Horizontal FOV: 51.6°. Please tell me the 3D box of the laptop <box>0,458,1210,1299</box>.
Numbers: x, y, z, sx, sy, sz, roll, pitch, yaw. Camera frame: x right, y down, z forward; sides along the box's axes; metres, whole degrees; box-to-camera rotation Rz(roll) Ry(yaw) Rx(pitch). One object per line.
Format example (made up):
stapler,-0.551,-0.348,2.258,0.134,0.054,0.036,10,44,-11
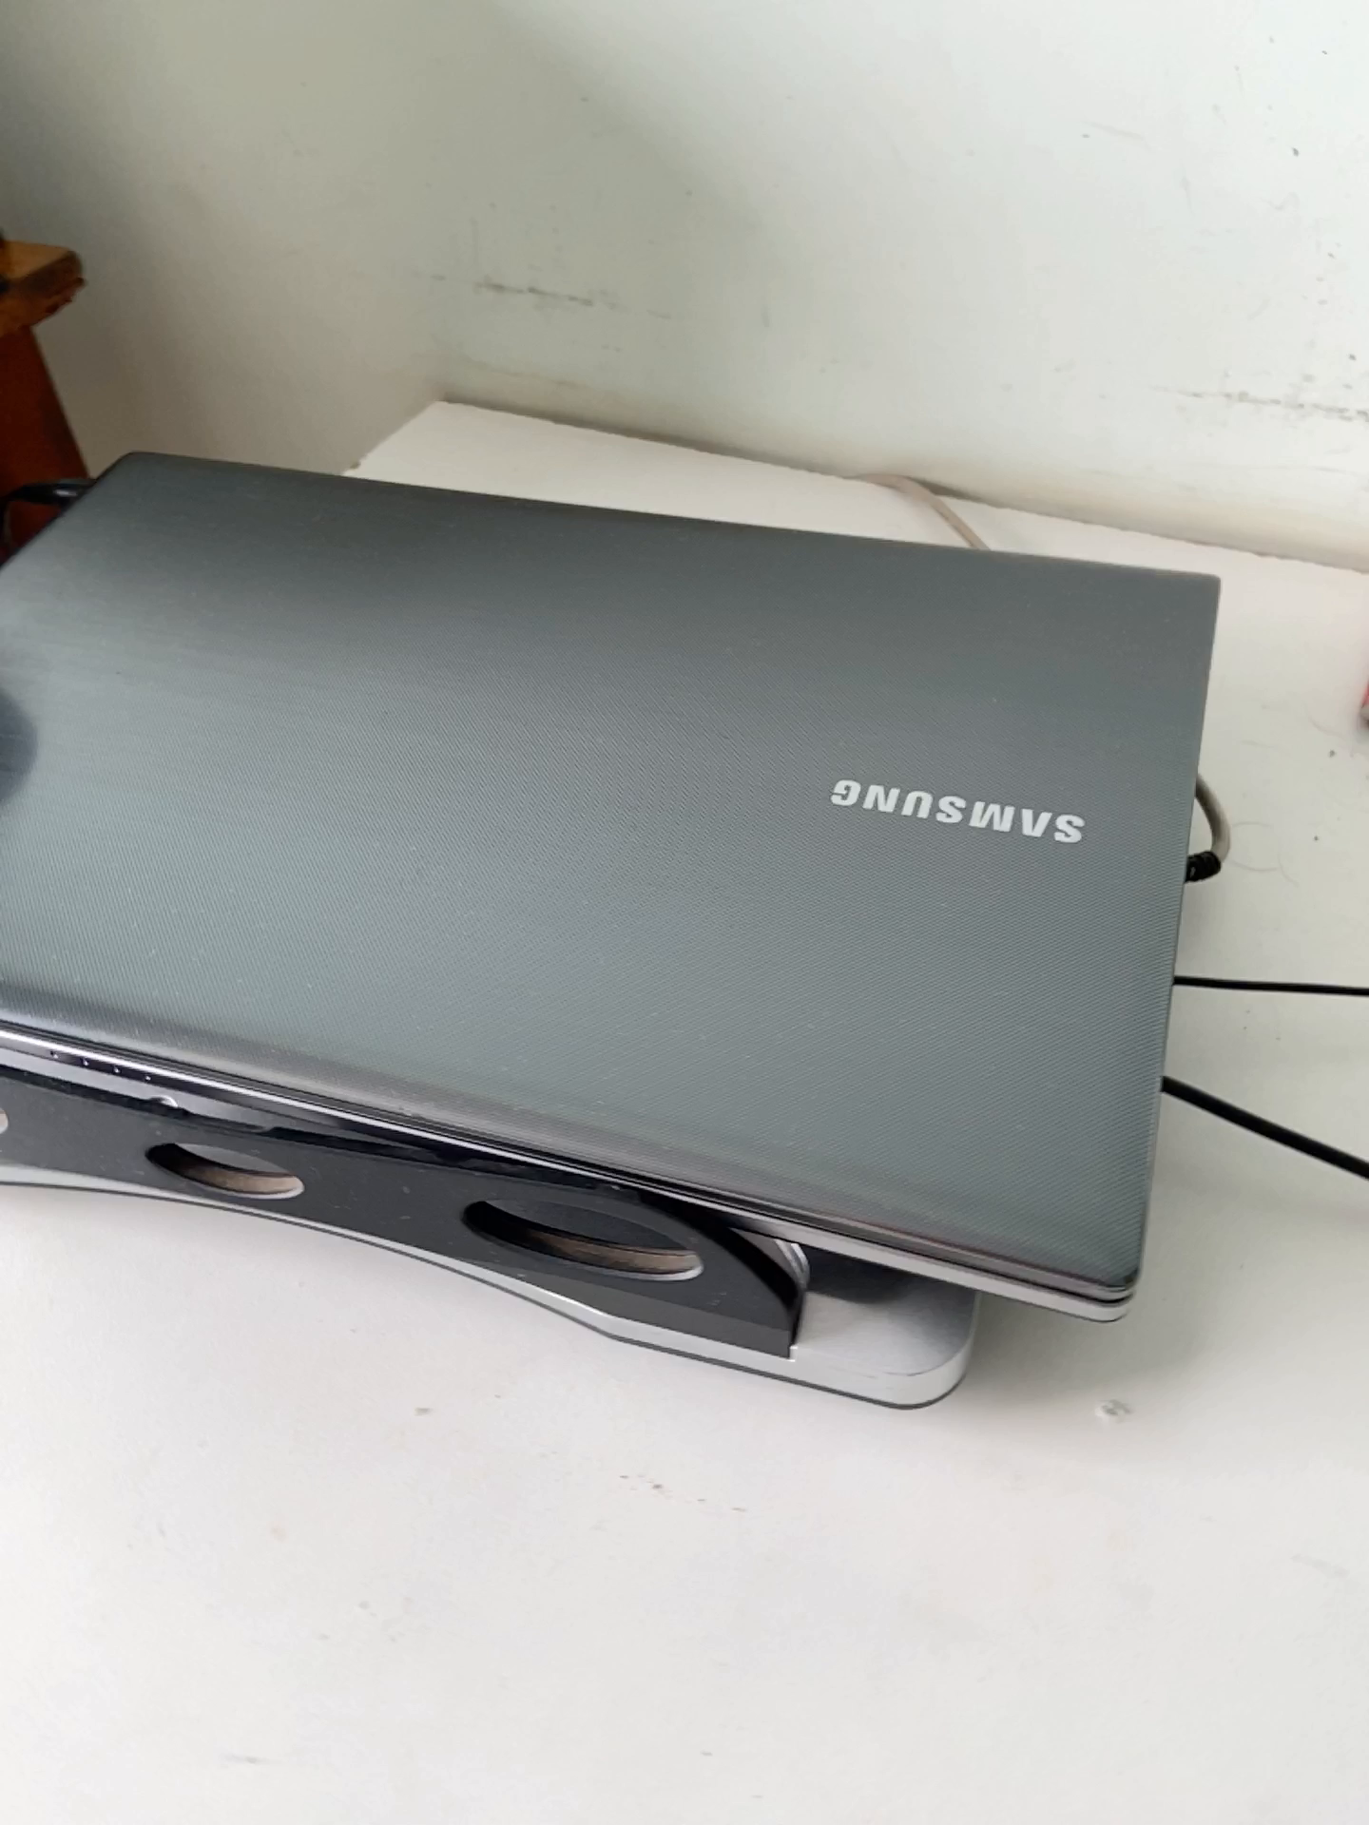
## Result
laptop,-0.060,-0.046,0.385,0.373,0.005,0.237,10,48,15
